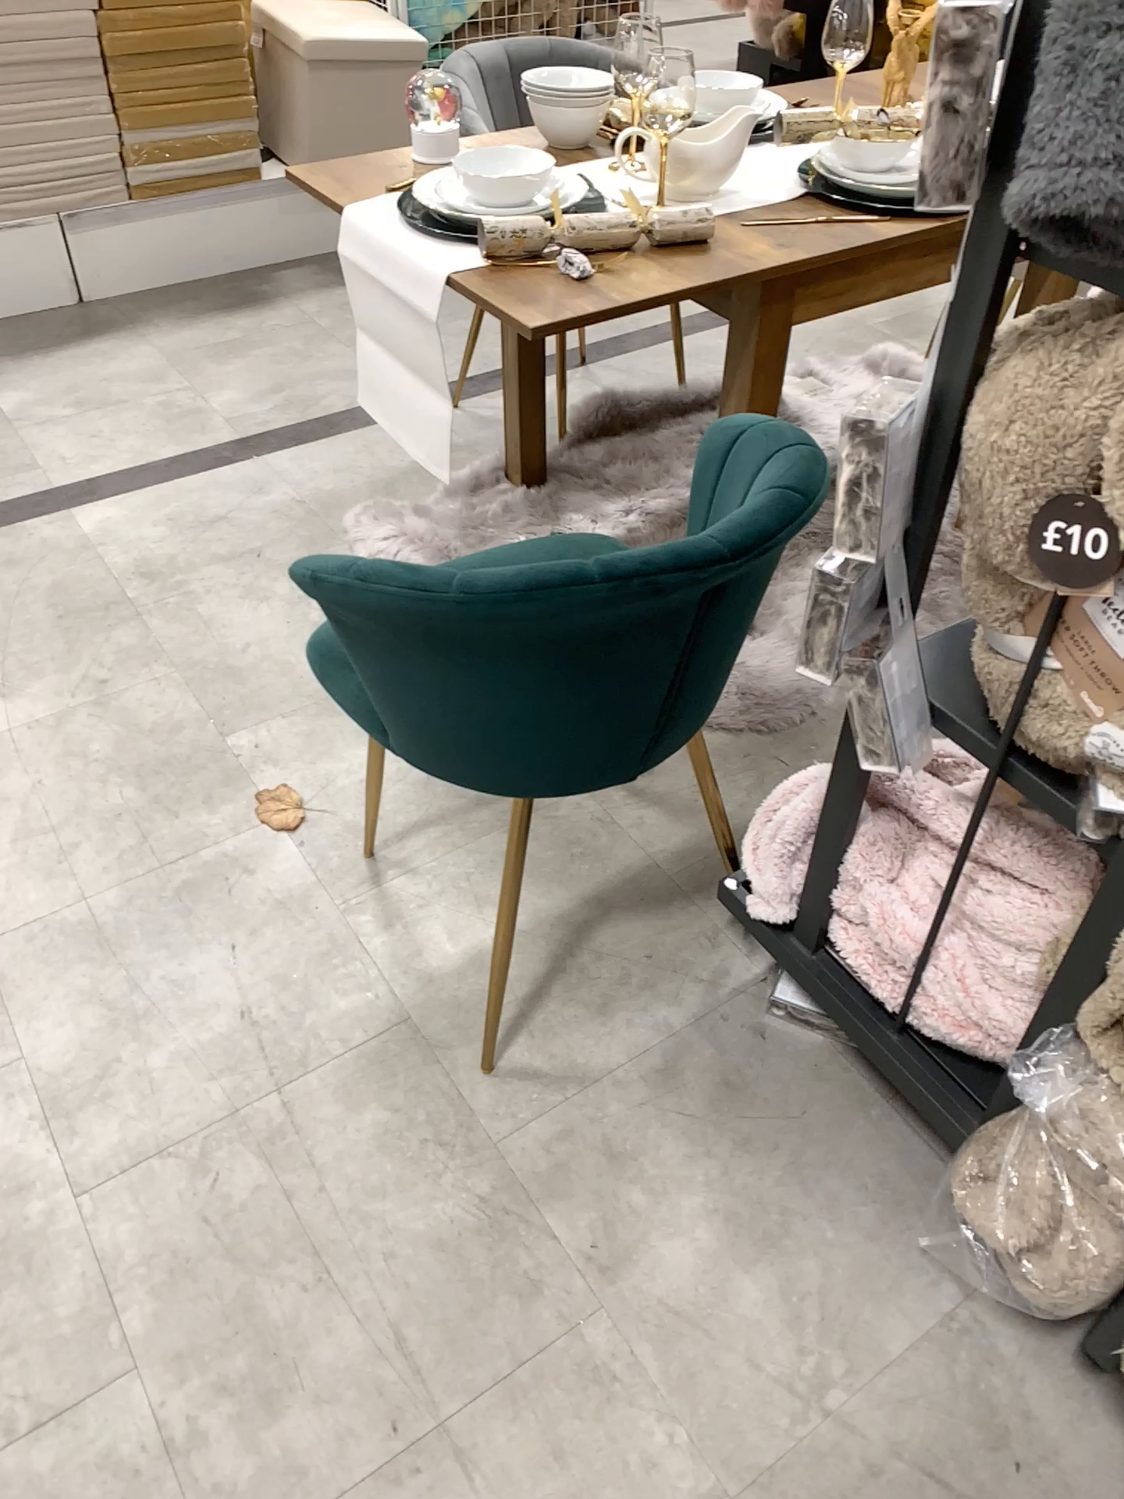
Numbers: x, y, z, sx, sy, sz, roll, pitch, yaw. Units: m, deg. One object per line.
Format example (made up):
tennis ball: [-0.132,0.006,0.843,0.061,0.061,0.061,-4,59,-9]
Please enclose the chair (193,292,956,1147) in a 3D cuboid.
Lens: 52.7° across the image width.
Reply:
chair: [-0.010,-0.059,1.375,0.548,0.692,0.573,-23,47,-24]
